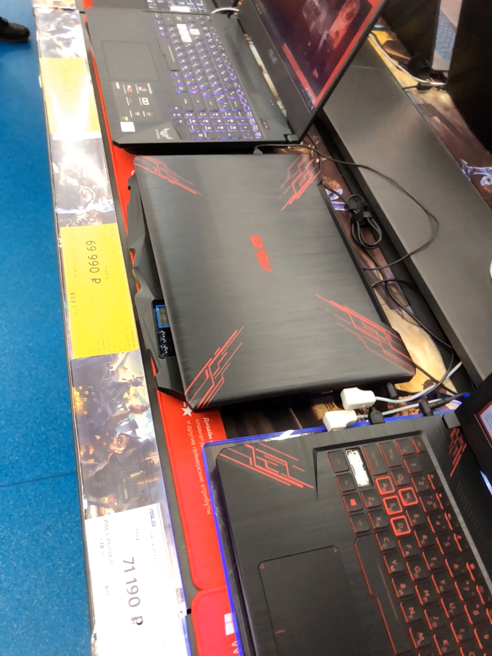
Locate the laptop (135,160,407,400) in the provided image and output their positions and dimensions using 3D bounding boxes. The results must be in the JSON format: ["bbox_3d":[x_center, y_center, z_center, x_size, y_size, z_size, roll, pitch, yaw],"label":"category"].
[{"bbox_3d":[0.015,-0.088,0.655,0.239,0.003,0.359,-6,55,-19],"label":"laptop"}]
